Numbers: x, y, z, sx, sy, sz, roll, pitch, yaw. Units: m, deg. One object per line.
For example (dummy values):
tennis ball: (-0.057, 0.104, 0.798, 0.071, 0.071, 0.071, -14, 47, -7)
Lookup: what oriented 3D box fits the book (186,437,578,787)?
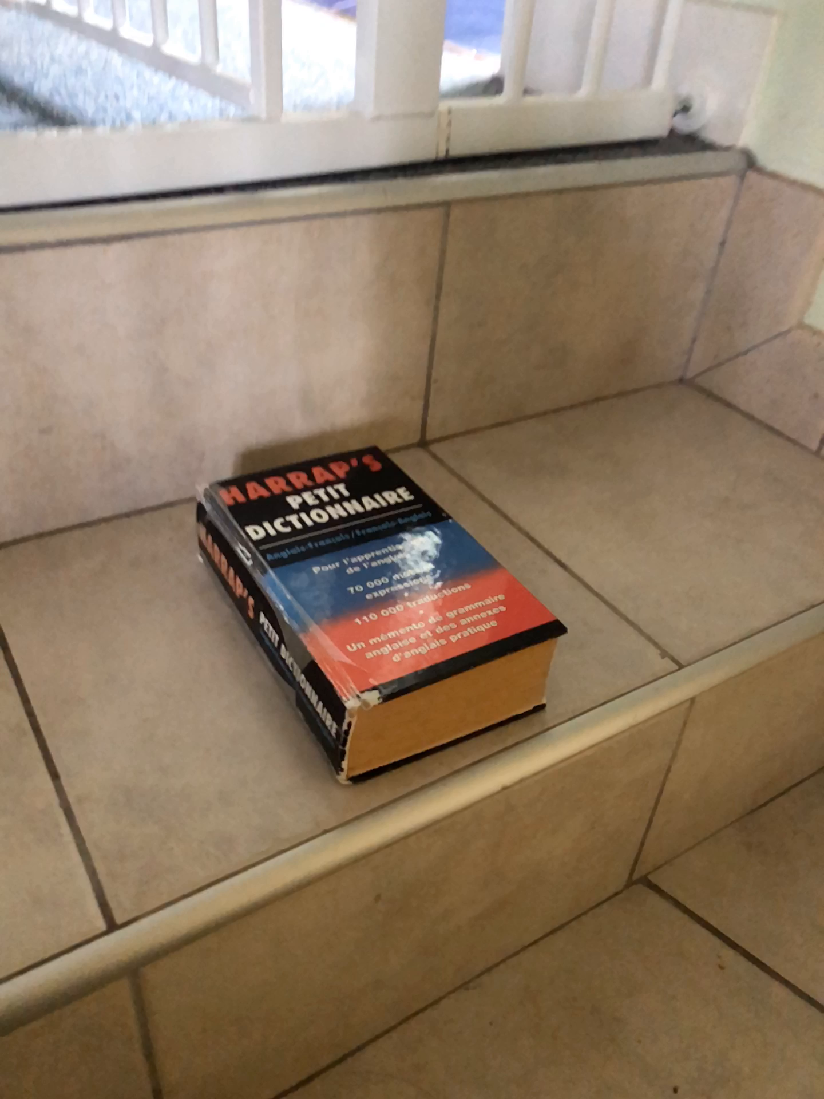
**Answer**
book: (-0.024, 0.017, 0.461, 0.118, 0.050, 0.186, -16, 40, -27)
